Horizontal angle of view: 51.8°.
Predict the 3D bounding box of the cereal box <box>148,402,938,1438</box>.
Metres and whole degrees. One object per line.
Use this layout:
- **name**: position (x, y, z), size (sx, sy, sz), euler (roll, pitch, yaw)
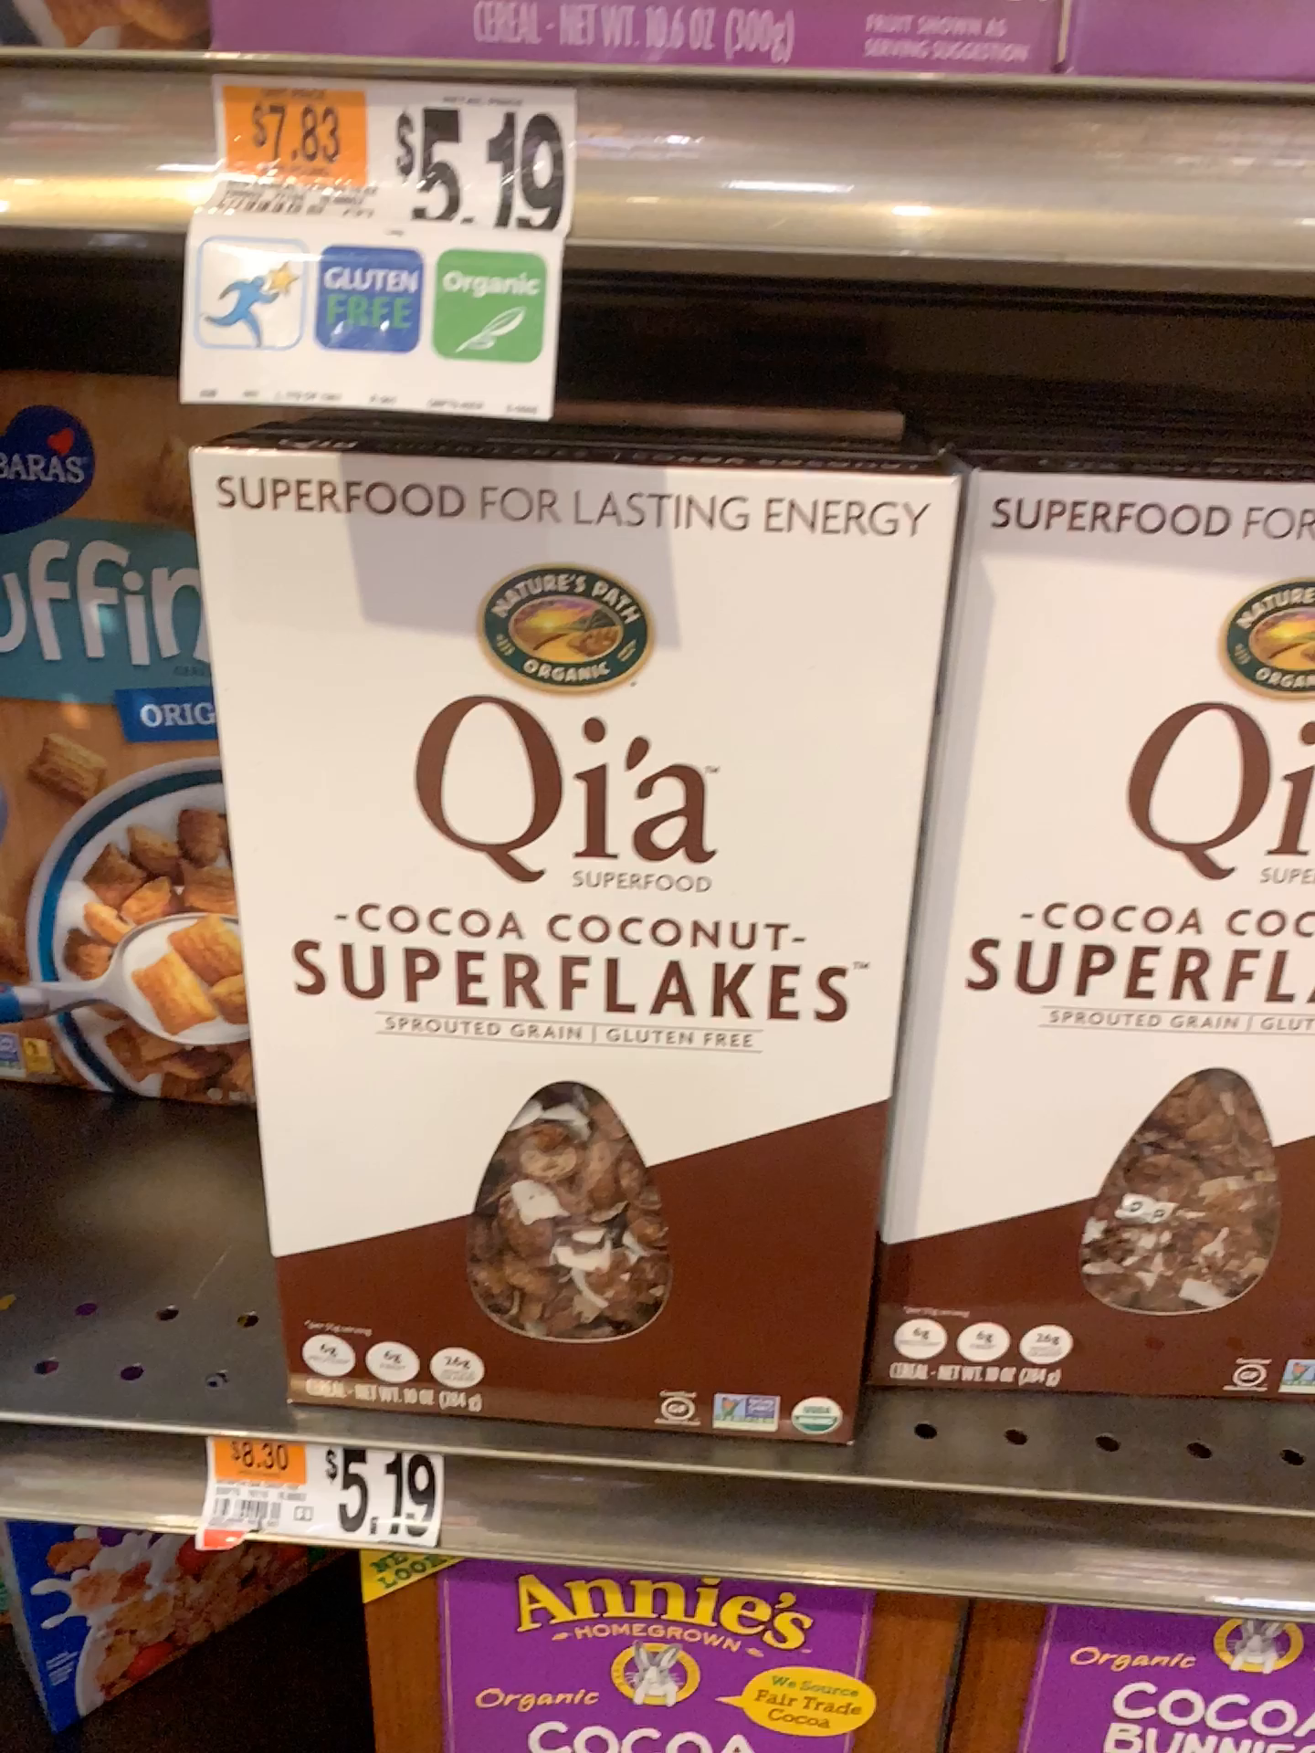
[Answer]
- **cereal box**: position (-0.026, 0.019, 0.351), size (0.160, 0.259, 0.060), euler (3, 23, 2)
